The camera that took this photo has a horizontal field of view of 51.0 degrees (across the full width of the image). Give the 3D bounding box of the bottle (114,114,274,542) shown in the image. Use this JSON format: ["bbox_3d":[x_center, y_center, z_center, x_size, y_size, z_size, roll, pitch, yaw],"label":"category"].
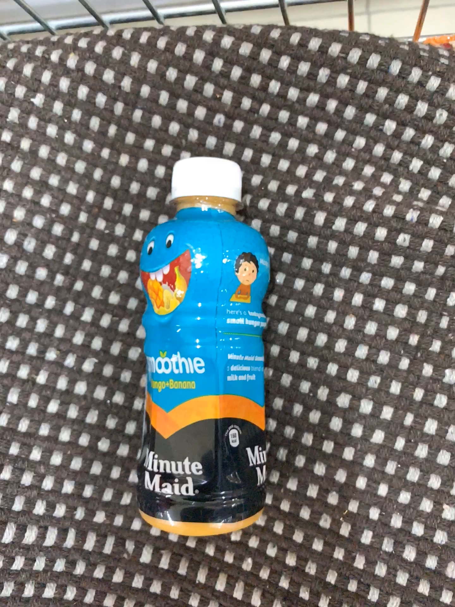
[{"bbox_3d":[-0.012,0.009,0.202,0.060,0.040,0.160,-1,88,7],"label":"bottle"}]
